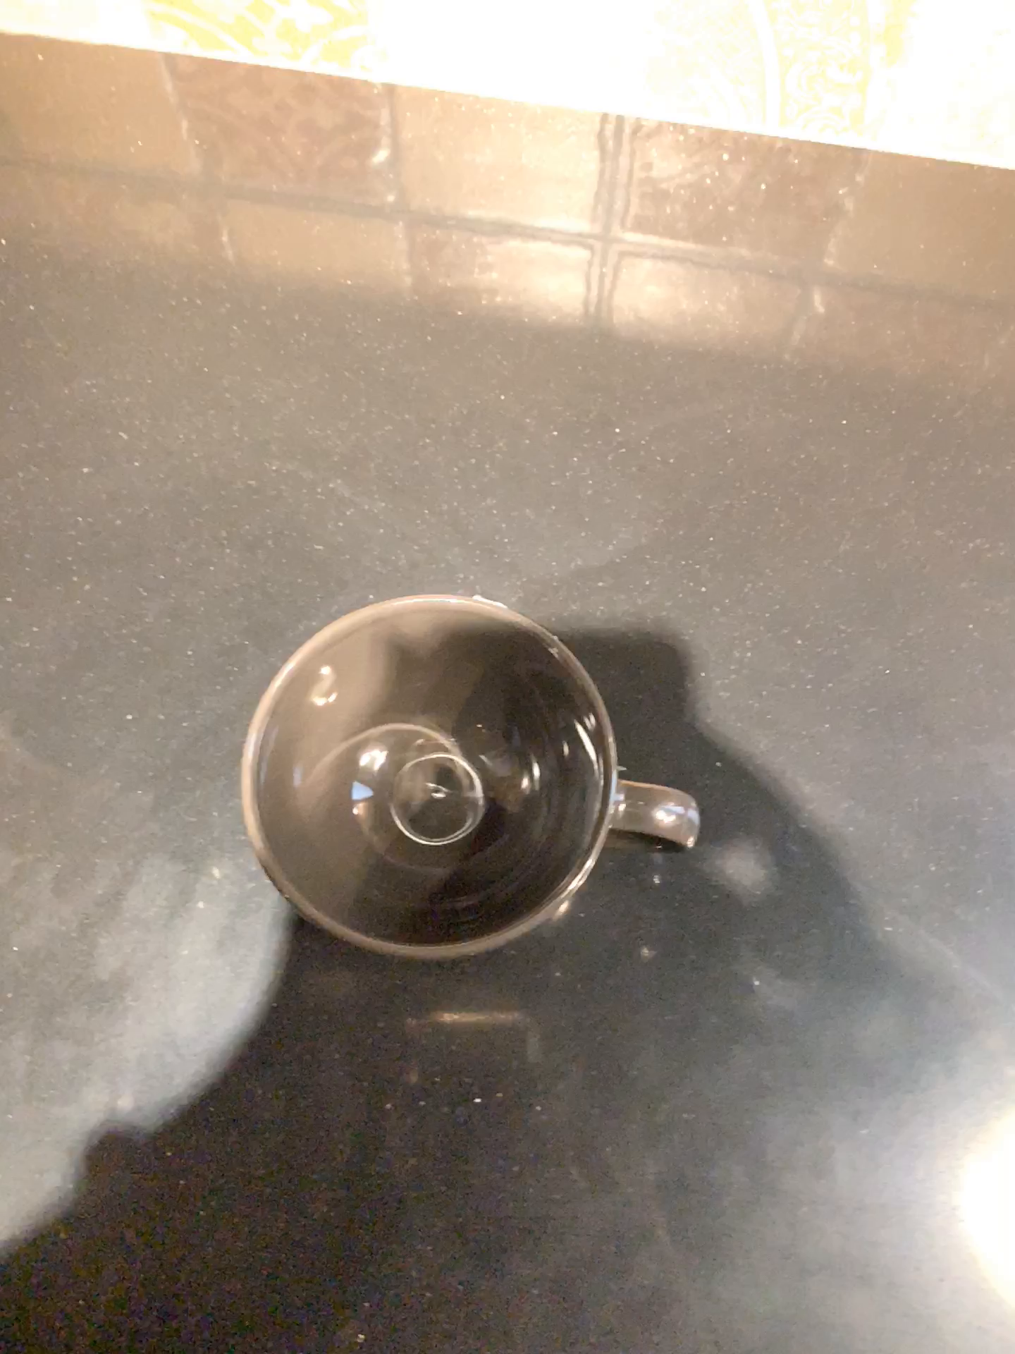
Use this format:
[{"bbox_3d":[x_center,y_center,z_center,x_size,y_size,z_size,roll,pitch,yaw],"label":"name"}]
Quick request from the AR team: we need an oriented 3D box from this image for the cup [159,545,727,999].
[{"bbox_3d":[-0.013,0.030,0.308,0.140,0.060,0.110,5,71,3],"label":"cup"}]
